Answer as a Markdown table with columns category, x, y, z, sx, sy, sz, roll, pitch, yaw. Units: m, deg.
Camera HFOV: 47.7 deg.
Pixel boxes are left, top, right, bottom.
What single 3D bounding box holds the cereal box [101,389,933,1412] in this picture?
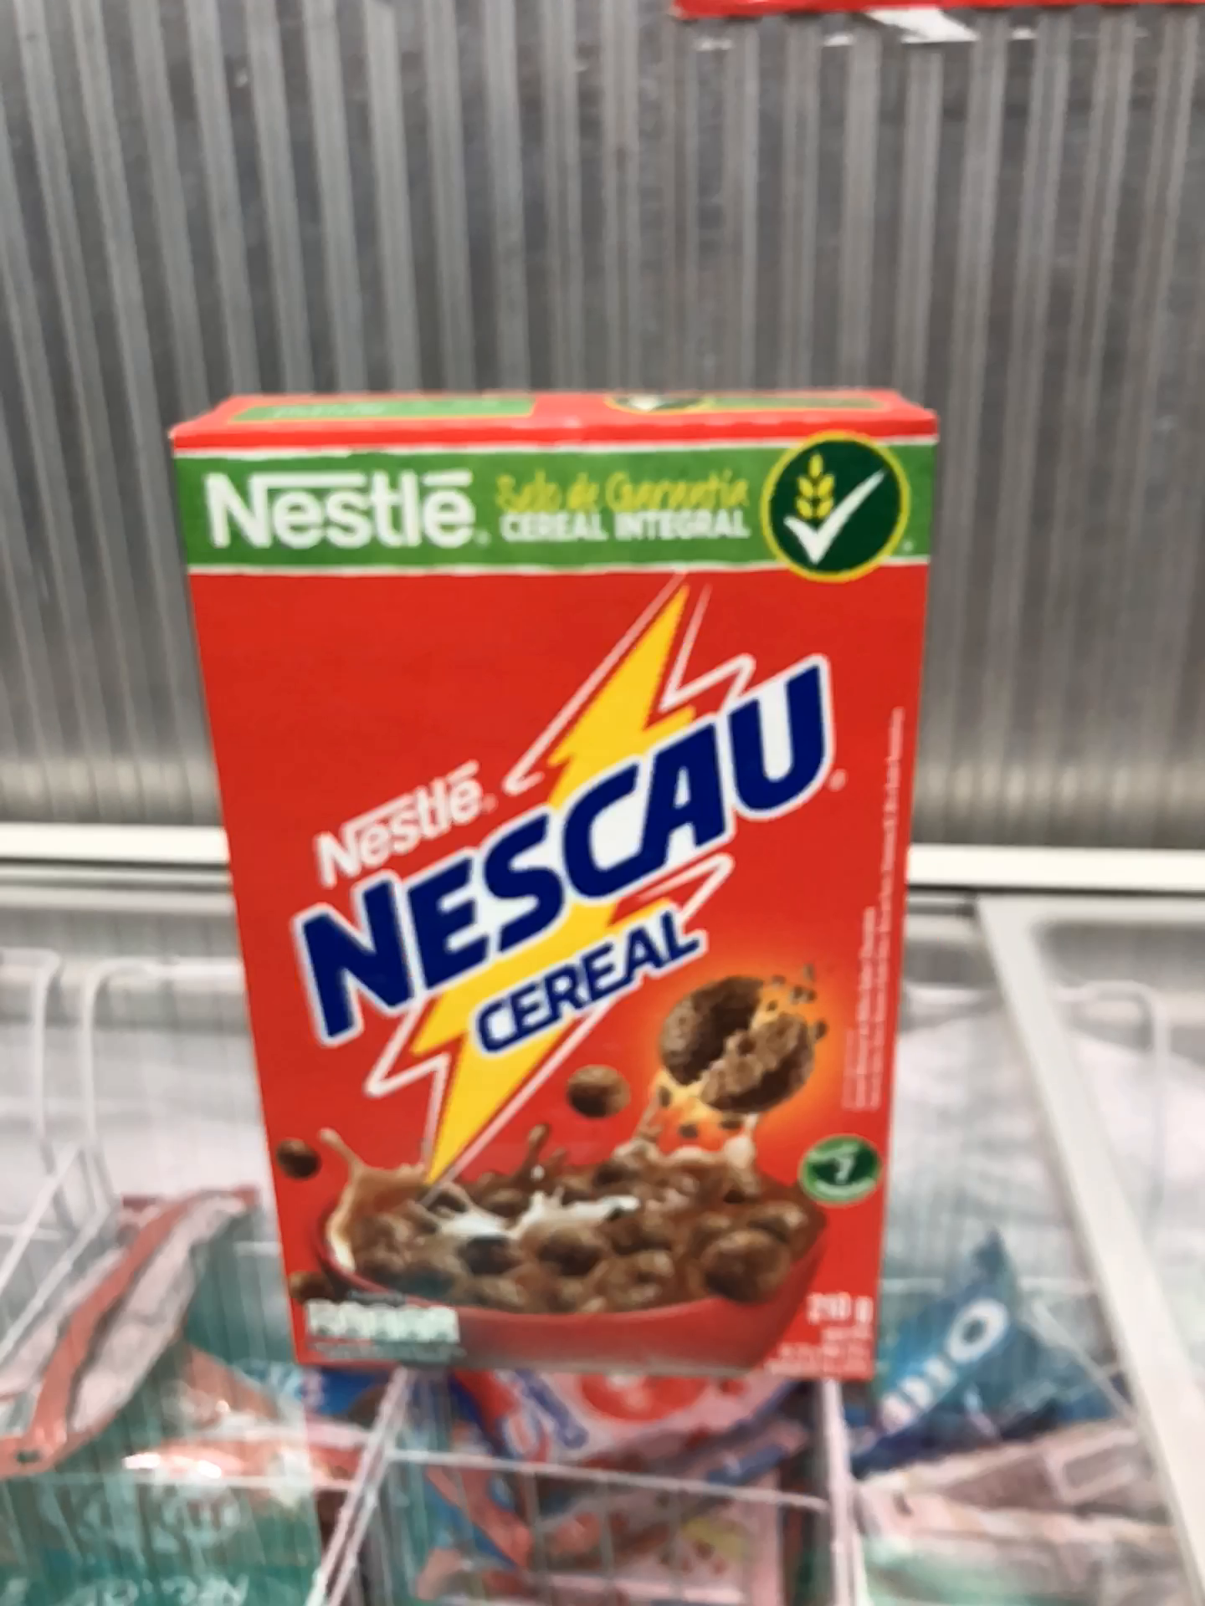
| category | x | y | z | sx | sy | sz | roll | pitch | yaw |
| --- | --- | --- | --- | --- | --- | --- | --- | --- | --- |
| cereal box | -0.015 | 0.033 | 0.347 | 0.170 | 0.258 | 0.050 | 1 | 22 | 5 |
